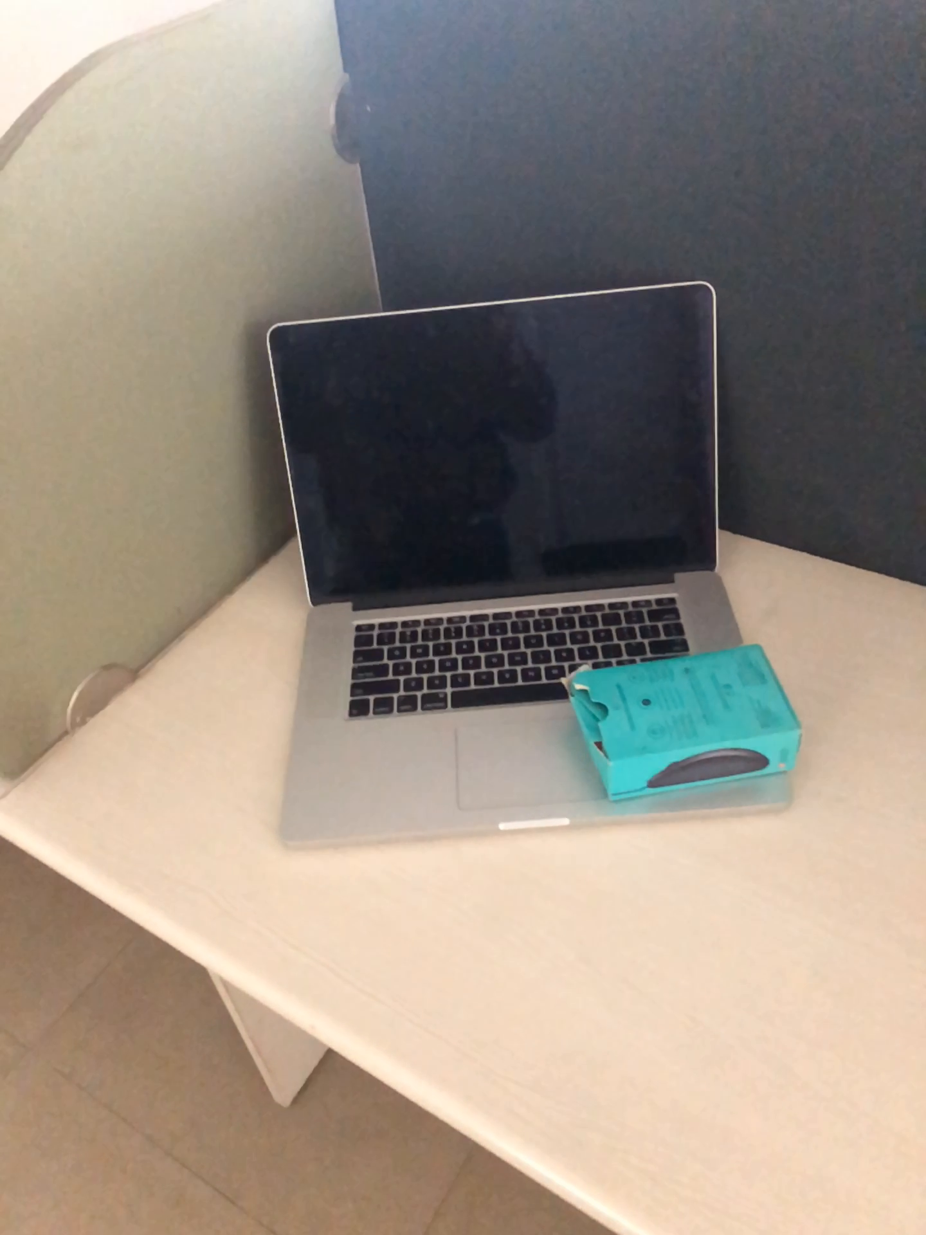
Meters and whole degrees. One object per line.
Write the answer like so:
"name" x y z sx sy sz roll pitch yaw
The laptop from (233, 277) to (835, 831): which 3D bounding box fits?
"laptop" 0.043 -0.058 0.742 0.328 0.200 0.340 -4 44 4
